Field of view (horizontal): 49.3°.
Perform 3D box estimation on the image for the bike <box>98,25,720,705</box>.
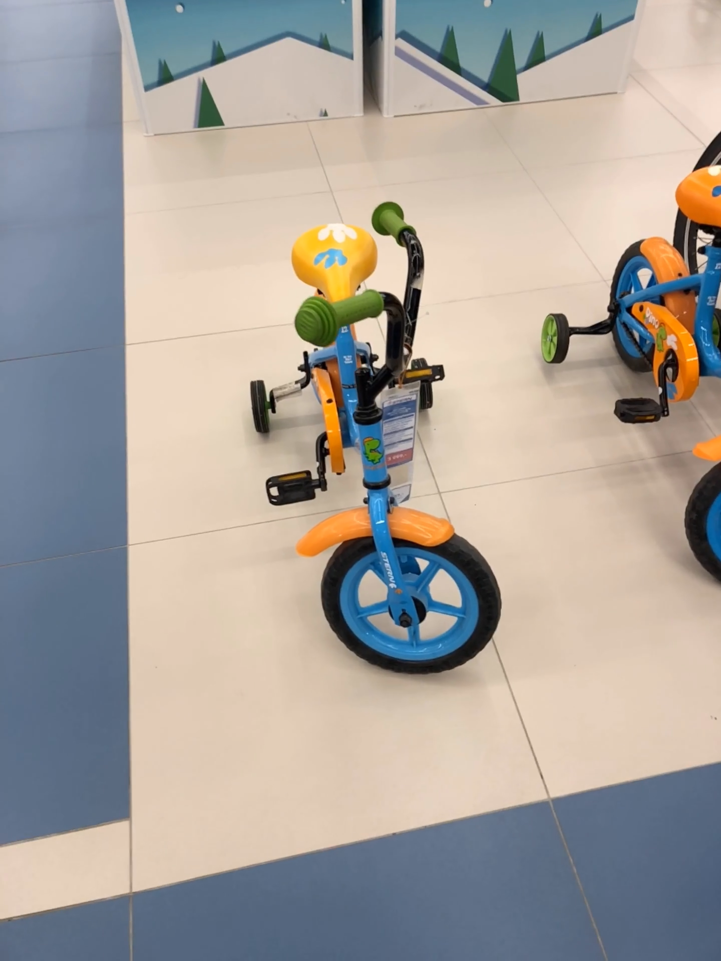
[{"bbox_3d":[0.018,-0.200,1.258,0.565,0.681,0.753,-15,50,-13],"label":"bike"}]
